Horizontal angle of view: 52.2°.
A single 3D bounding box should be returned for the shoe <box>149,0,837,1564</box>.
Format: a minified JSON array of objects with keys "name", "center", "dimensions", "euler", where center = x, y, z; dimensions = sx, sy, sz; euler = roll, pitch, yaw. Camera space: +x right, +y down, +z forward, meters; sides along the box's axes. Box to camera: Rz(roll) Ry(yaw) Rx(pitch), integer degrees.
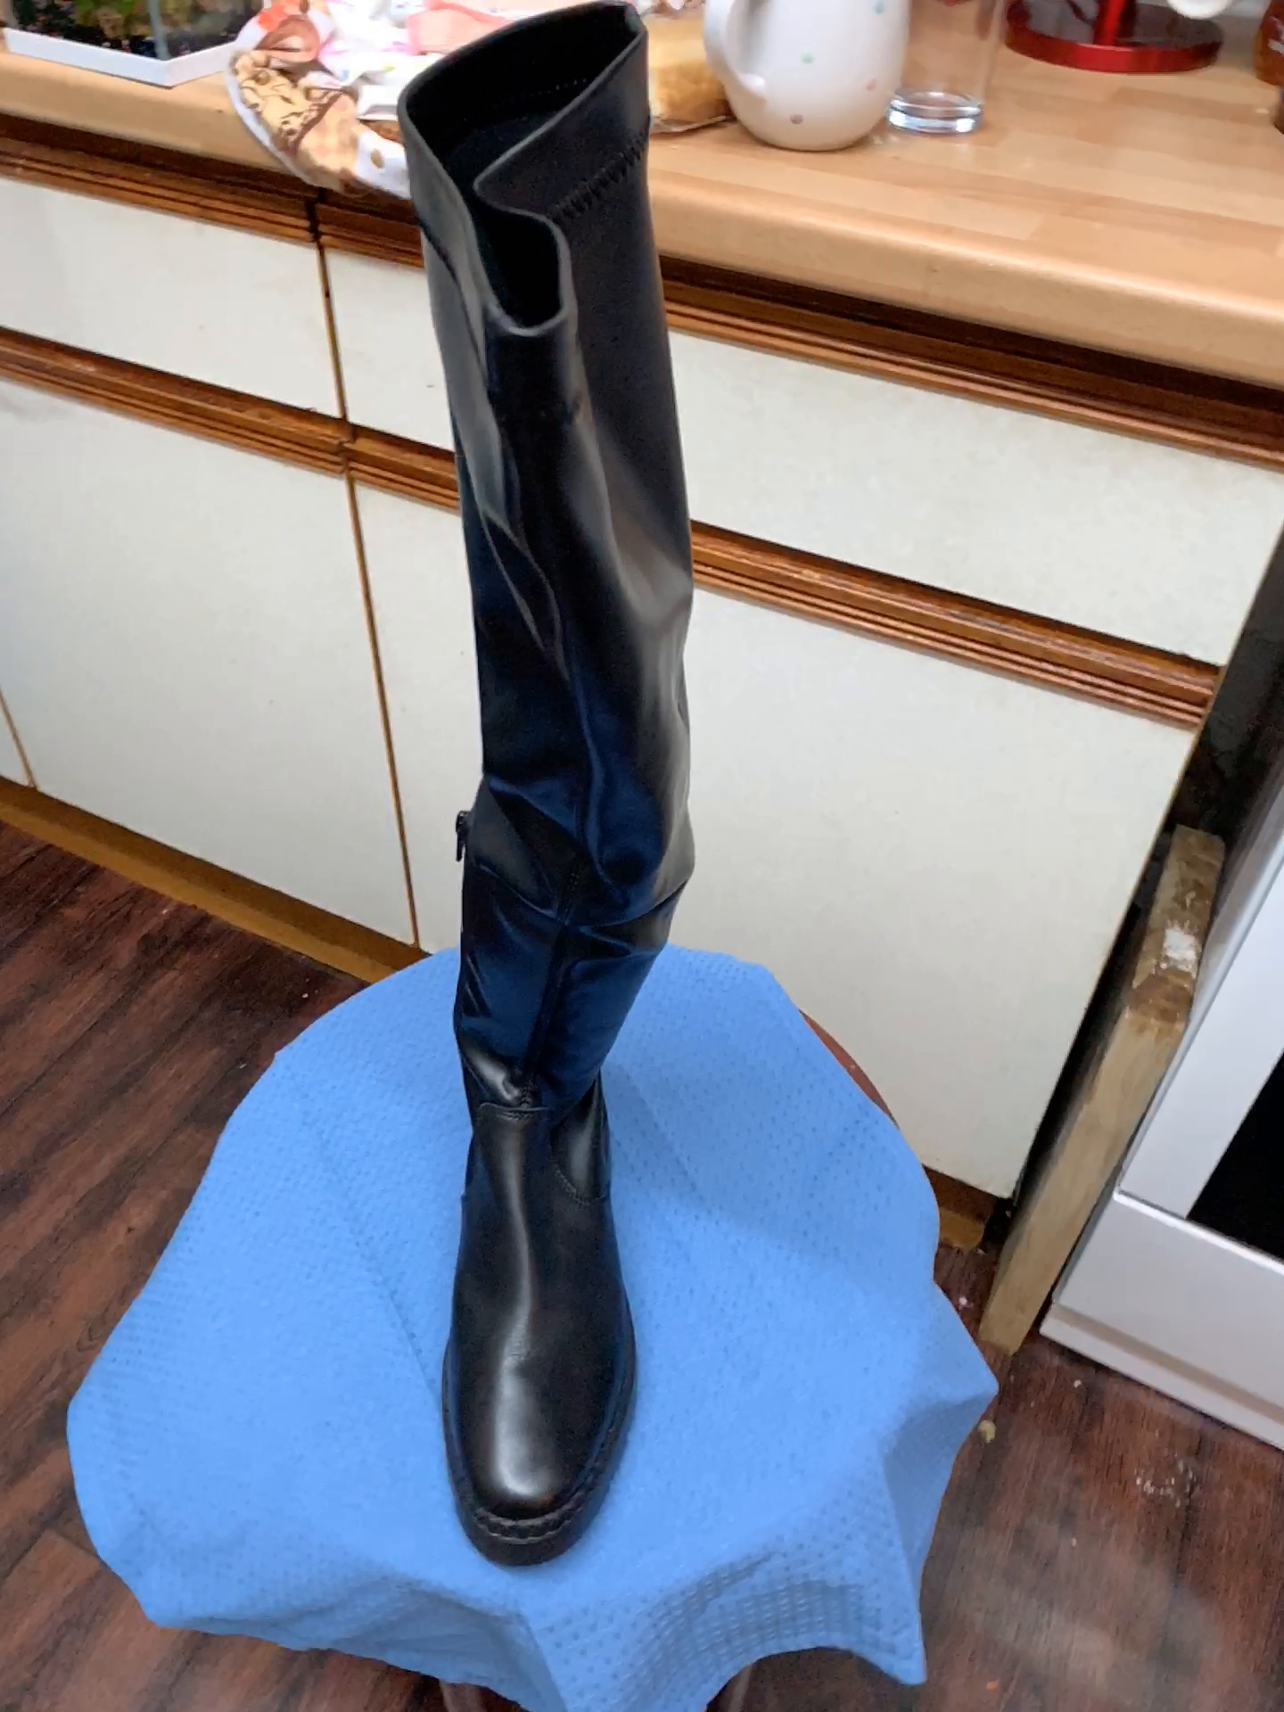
[{"name":"shoe","center":[-0.037,0.012,0.484],"dimensions":[0.106,0.535,0.273],"euler":[-1,42,-3]}]
